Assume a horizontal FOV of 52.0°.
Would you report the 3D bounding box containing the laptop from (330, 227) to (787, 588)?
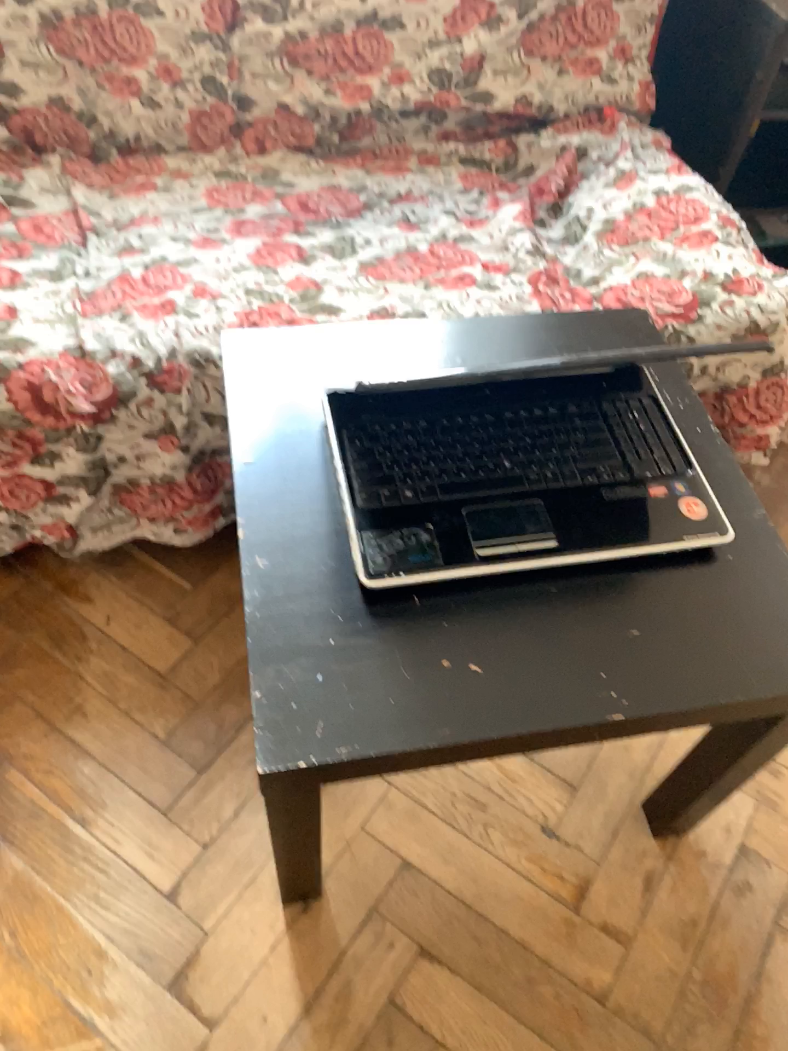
[{"bbox_3d":[0.140,-0.121,0.771,0.365,0.177,0.252,-7,54,-10],"label":"laptop"}]
